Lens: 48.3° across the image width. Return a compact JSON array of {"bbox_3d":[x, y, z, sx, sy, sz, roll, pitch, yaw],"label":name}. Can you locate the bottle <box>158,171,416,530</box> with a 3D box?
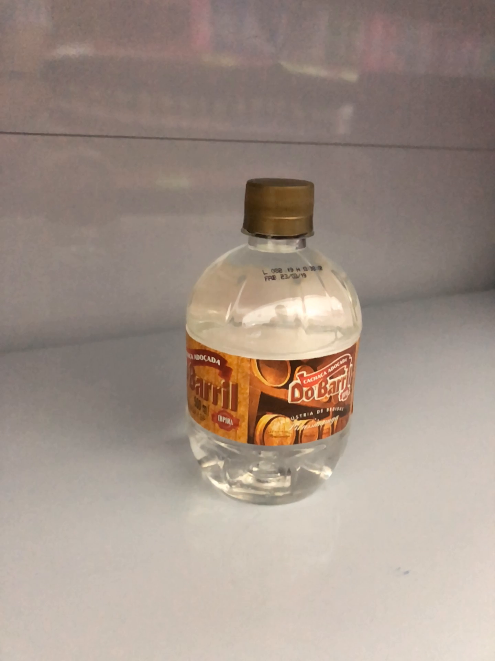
[{"bbox_3d":[0.012,0.001,0.264,0.080,0.139,0.080,2,21,-1],"label":"bottle"}]
